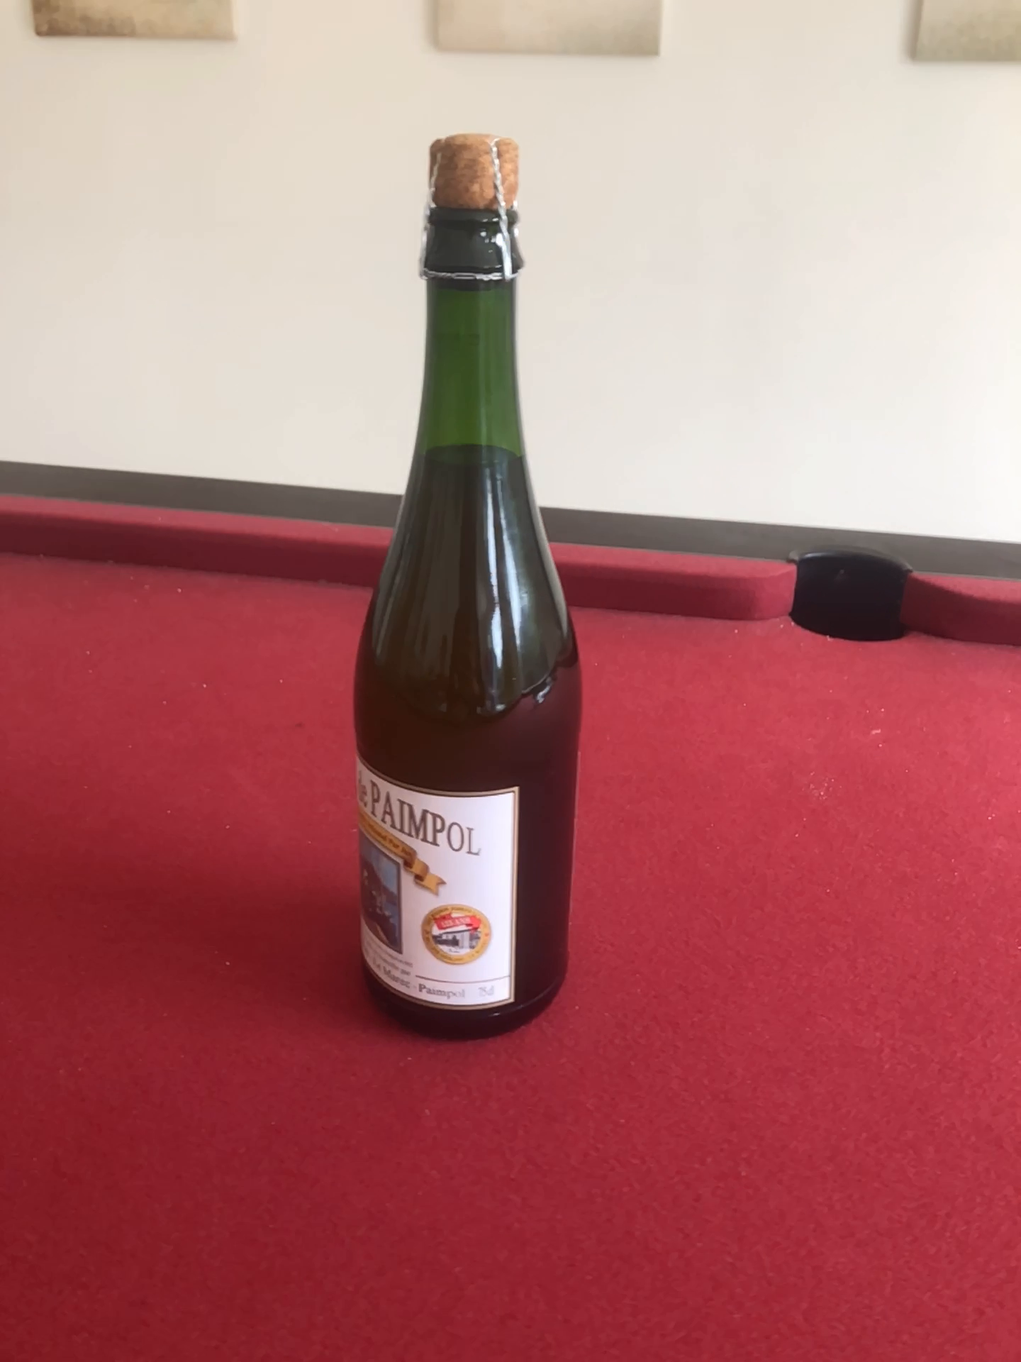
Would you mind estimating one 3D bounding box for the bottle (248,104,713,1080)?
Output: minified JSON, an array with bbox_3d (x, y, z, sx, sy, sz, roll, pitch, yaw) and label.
[{"bbox_3d":[-0.013,-0.027,0.386,0.100,0.298,0.090,-17,30,-35],"label":"bottle"}]
